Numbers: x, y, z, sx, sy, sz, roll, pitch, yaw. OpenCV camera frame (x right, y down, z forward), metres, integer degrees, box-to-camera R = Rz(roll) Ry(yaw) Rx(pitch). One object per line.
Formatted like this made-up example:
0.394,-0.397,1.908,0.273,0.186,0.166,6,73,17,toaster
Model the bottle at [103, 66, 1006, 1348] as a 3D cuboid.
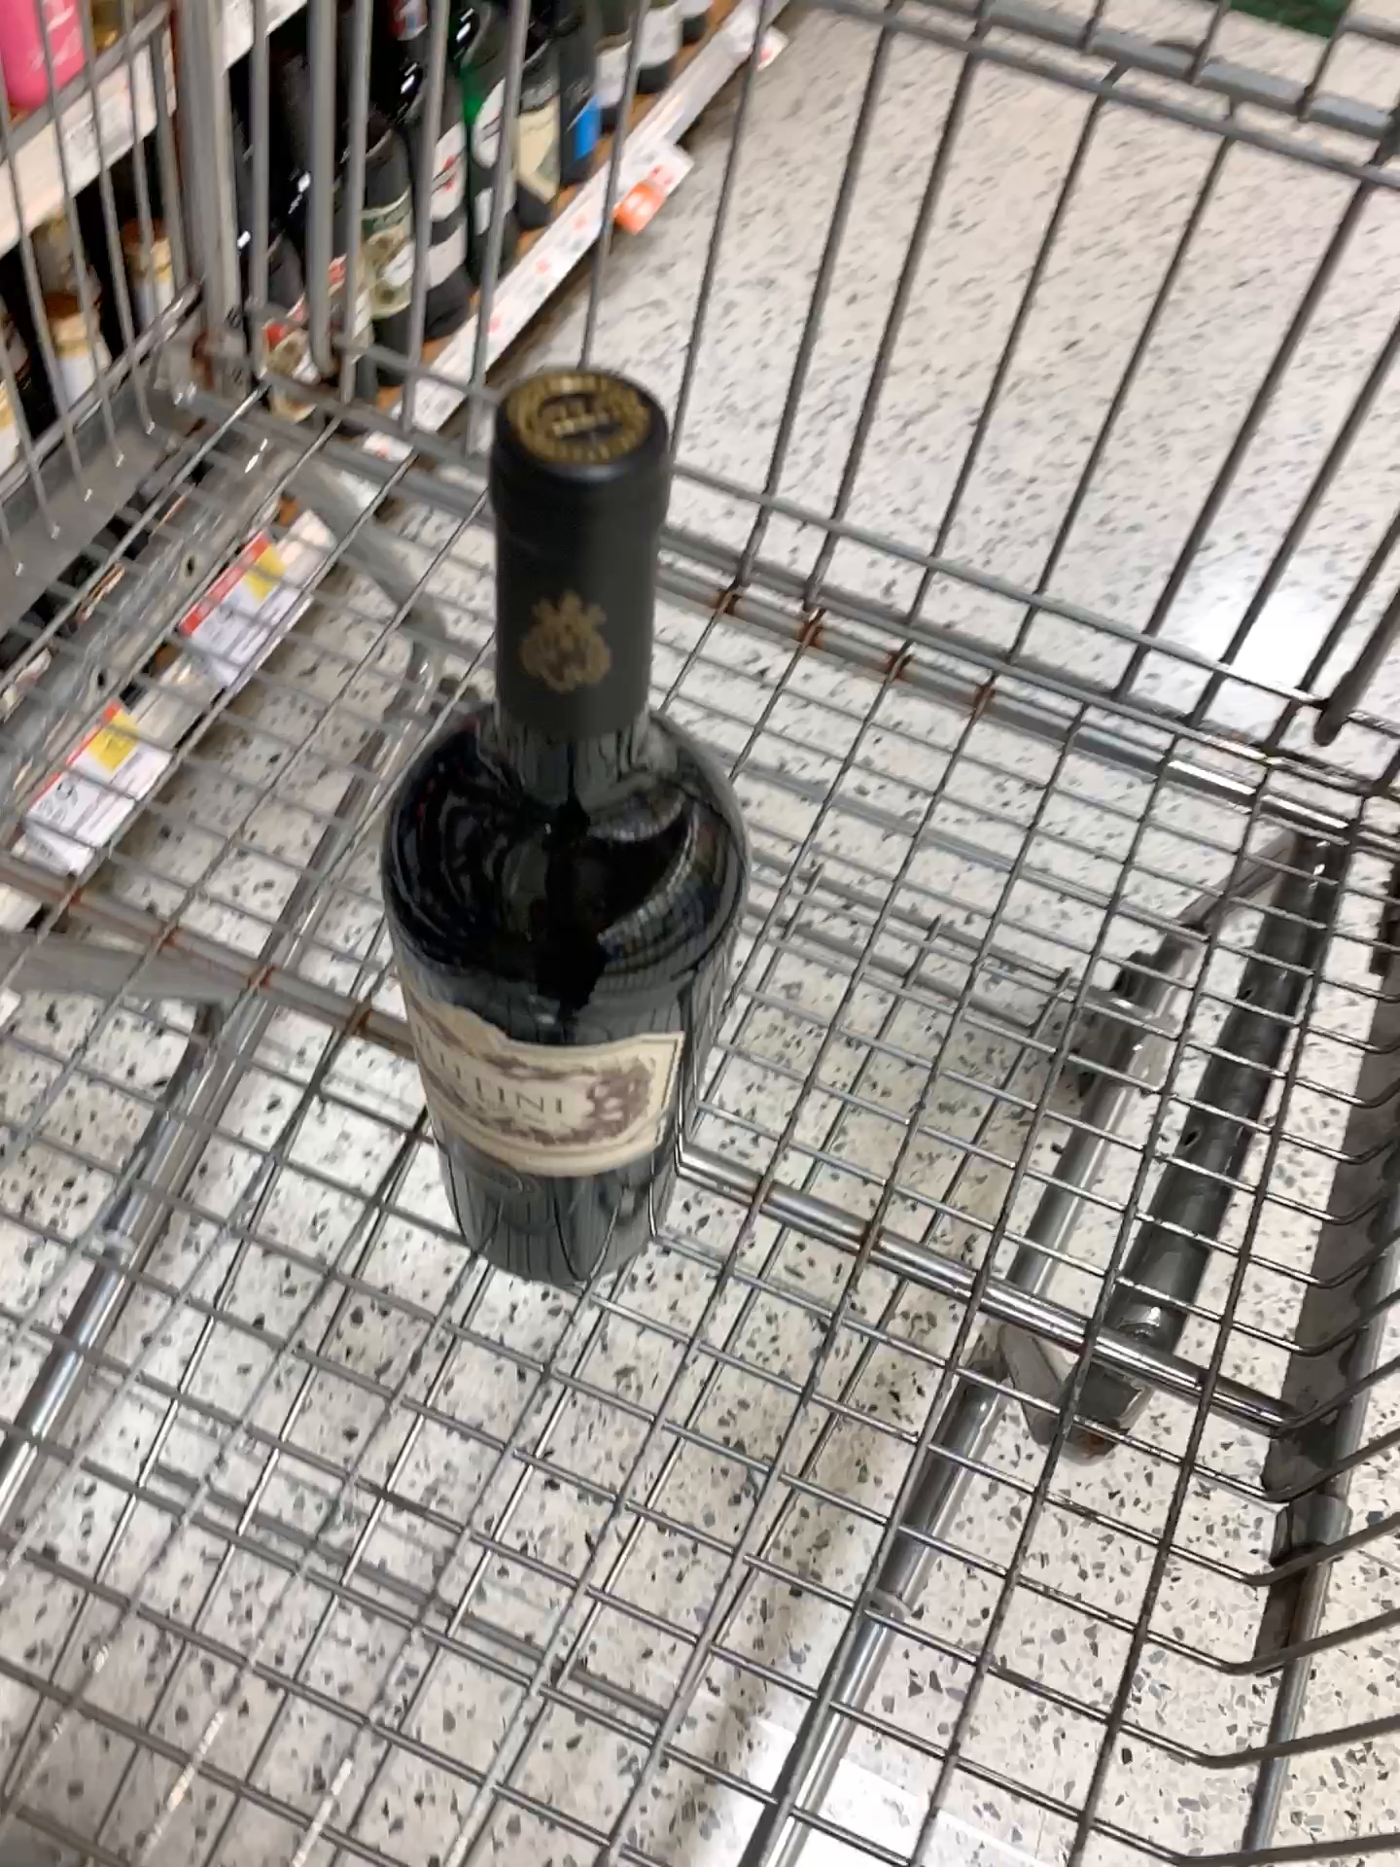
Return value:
-0.028,-0.008,0.327,0.090,0.298,0.101,22,60,7,bottle
